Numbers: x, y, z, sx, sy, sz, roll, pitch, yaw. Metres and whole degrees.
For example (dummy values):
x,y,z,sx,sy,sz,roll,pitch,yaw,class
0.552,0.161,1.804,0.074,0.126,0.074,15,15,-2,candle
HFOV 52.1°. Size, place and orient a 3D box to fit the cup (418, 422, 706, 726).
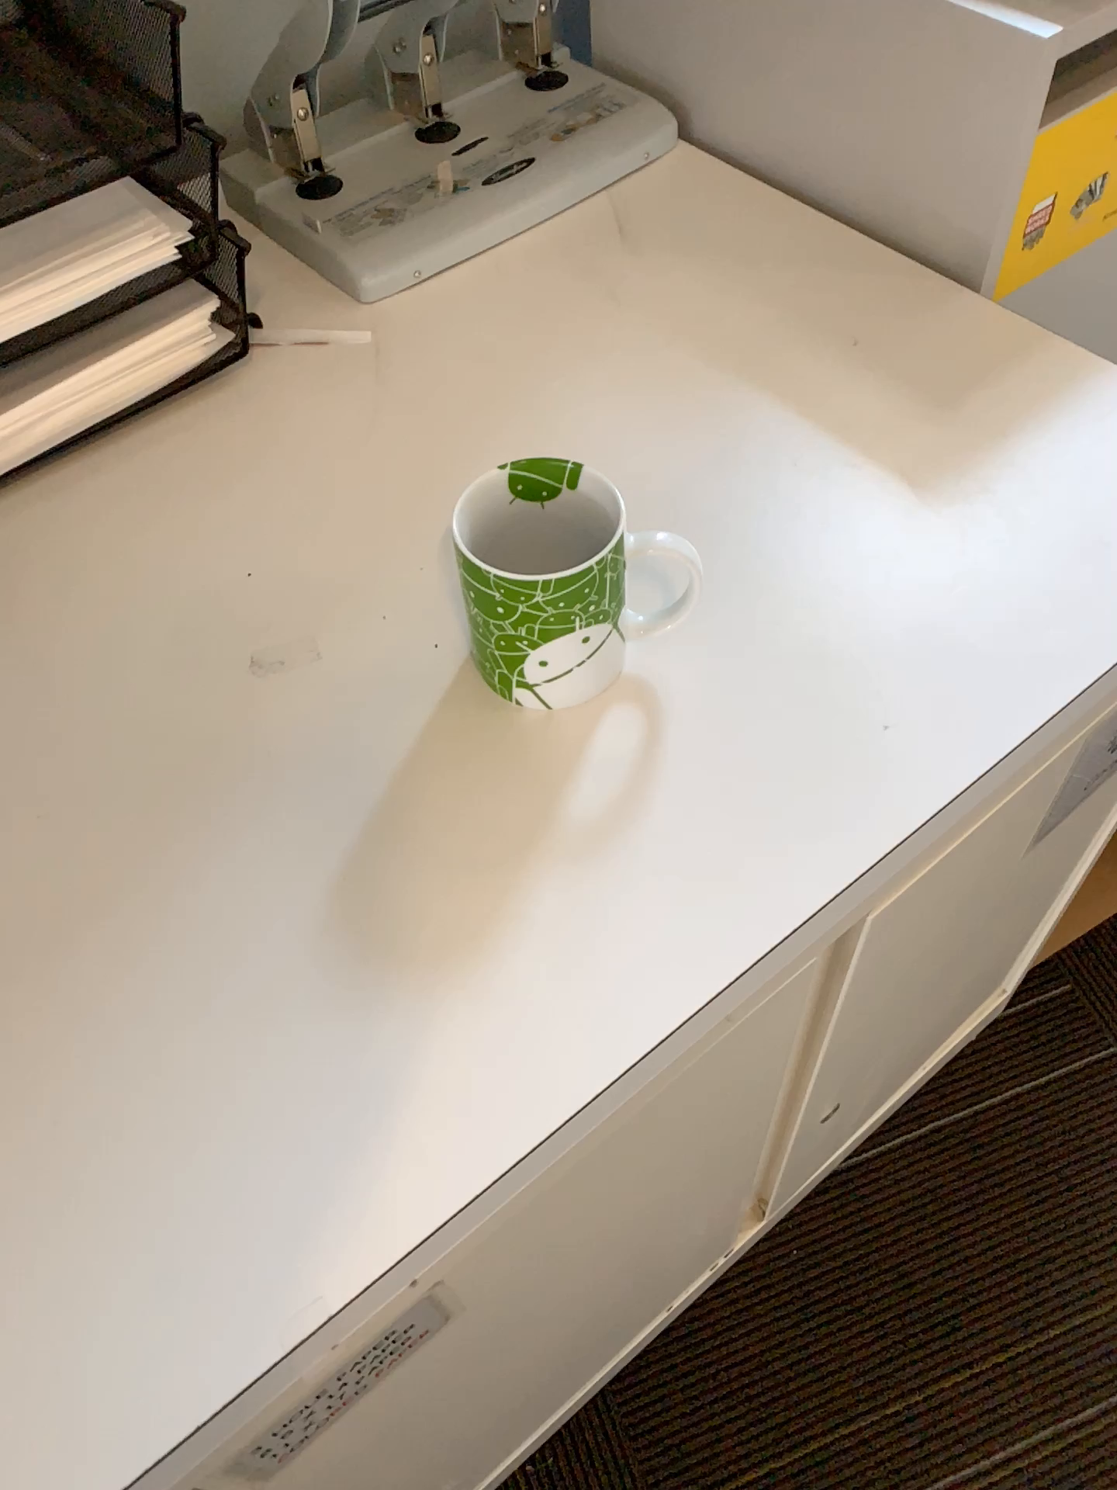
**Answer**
x,y,z,sx,sy,sz,roll,pitch,yaw,class
0.002,-0.078,0.528,0.110,0.090,0.080,-12,55,-4,cup
